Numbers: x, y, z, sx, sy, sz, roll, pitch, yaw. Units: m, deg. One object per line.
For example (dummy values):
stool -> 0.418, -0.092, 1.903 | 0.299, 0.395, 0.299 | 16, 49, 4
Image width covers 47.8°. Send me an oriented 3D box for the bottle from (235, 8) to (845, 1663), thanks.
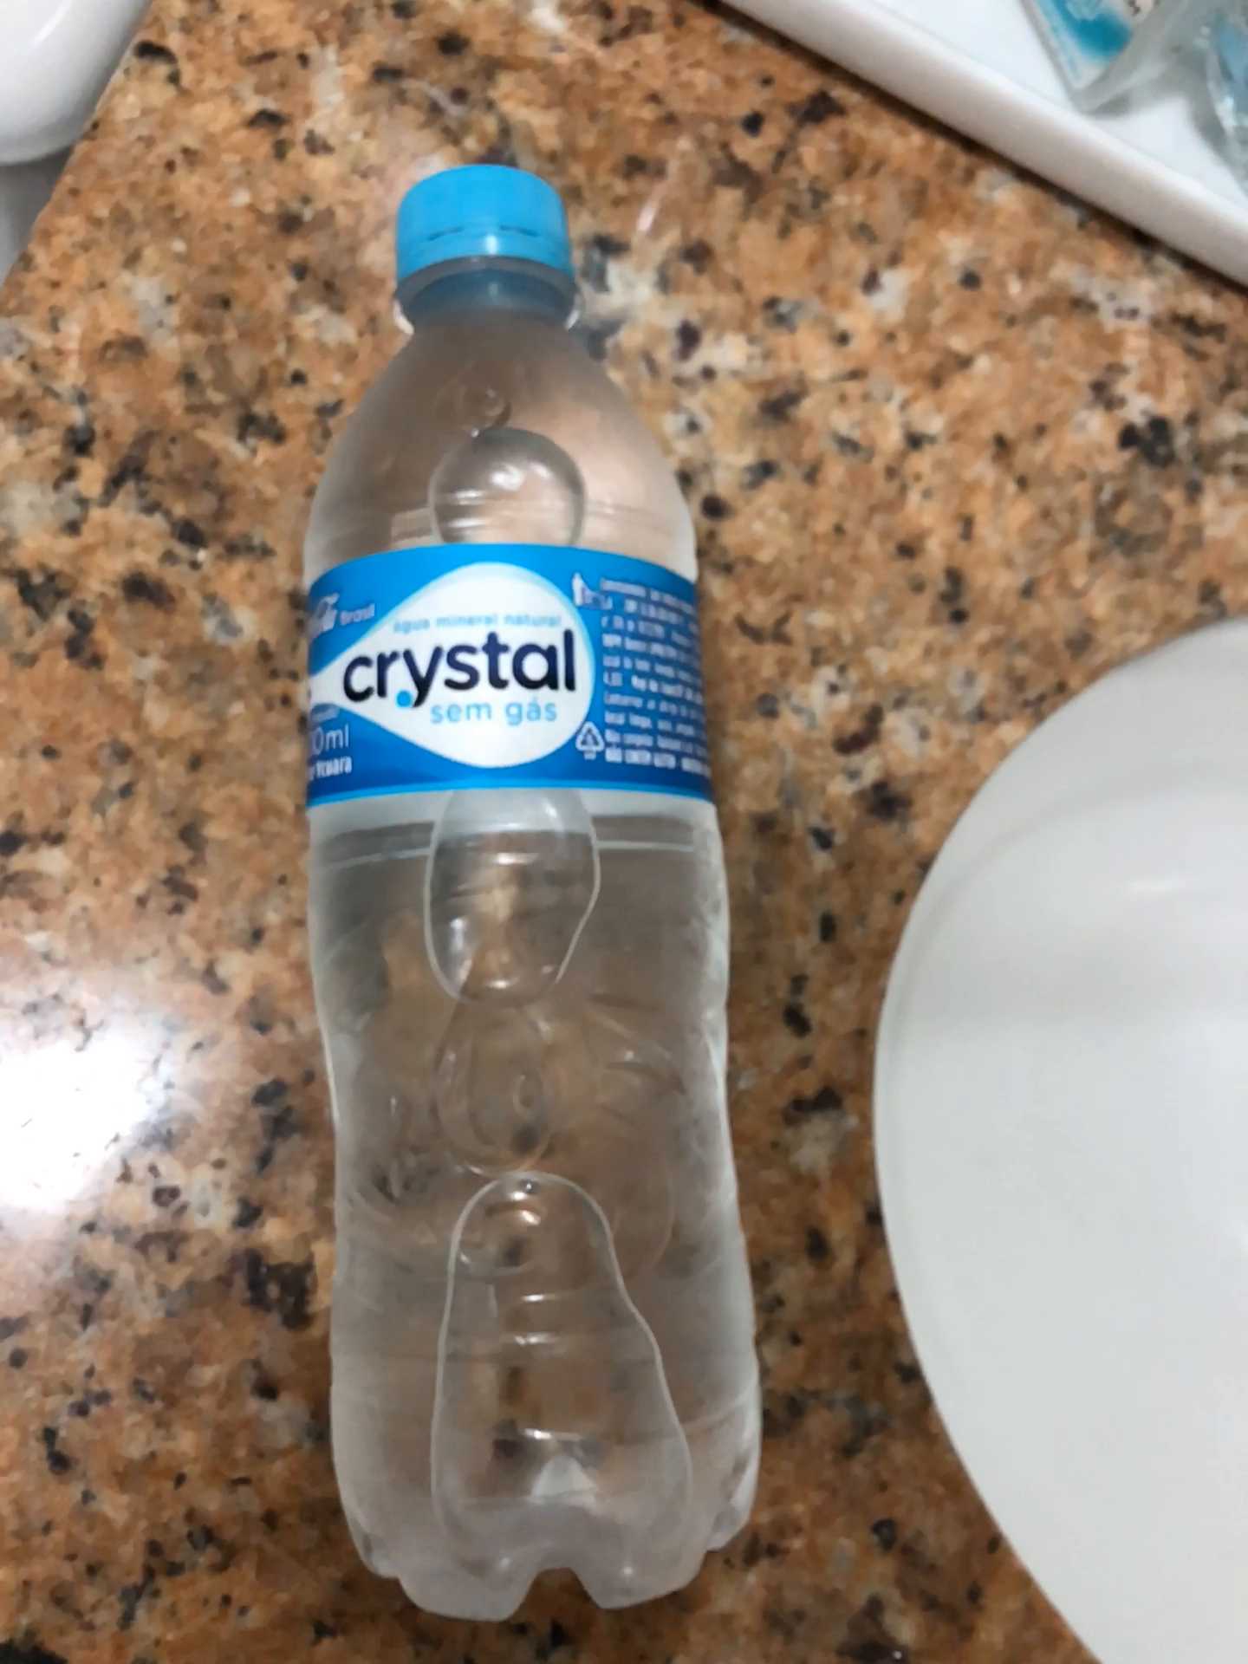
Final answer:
bottle -> -0.018, -0.004, 0.219 | 0.070, 0.050, 0.230 | -3, 82, -10
